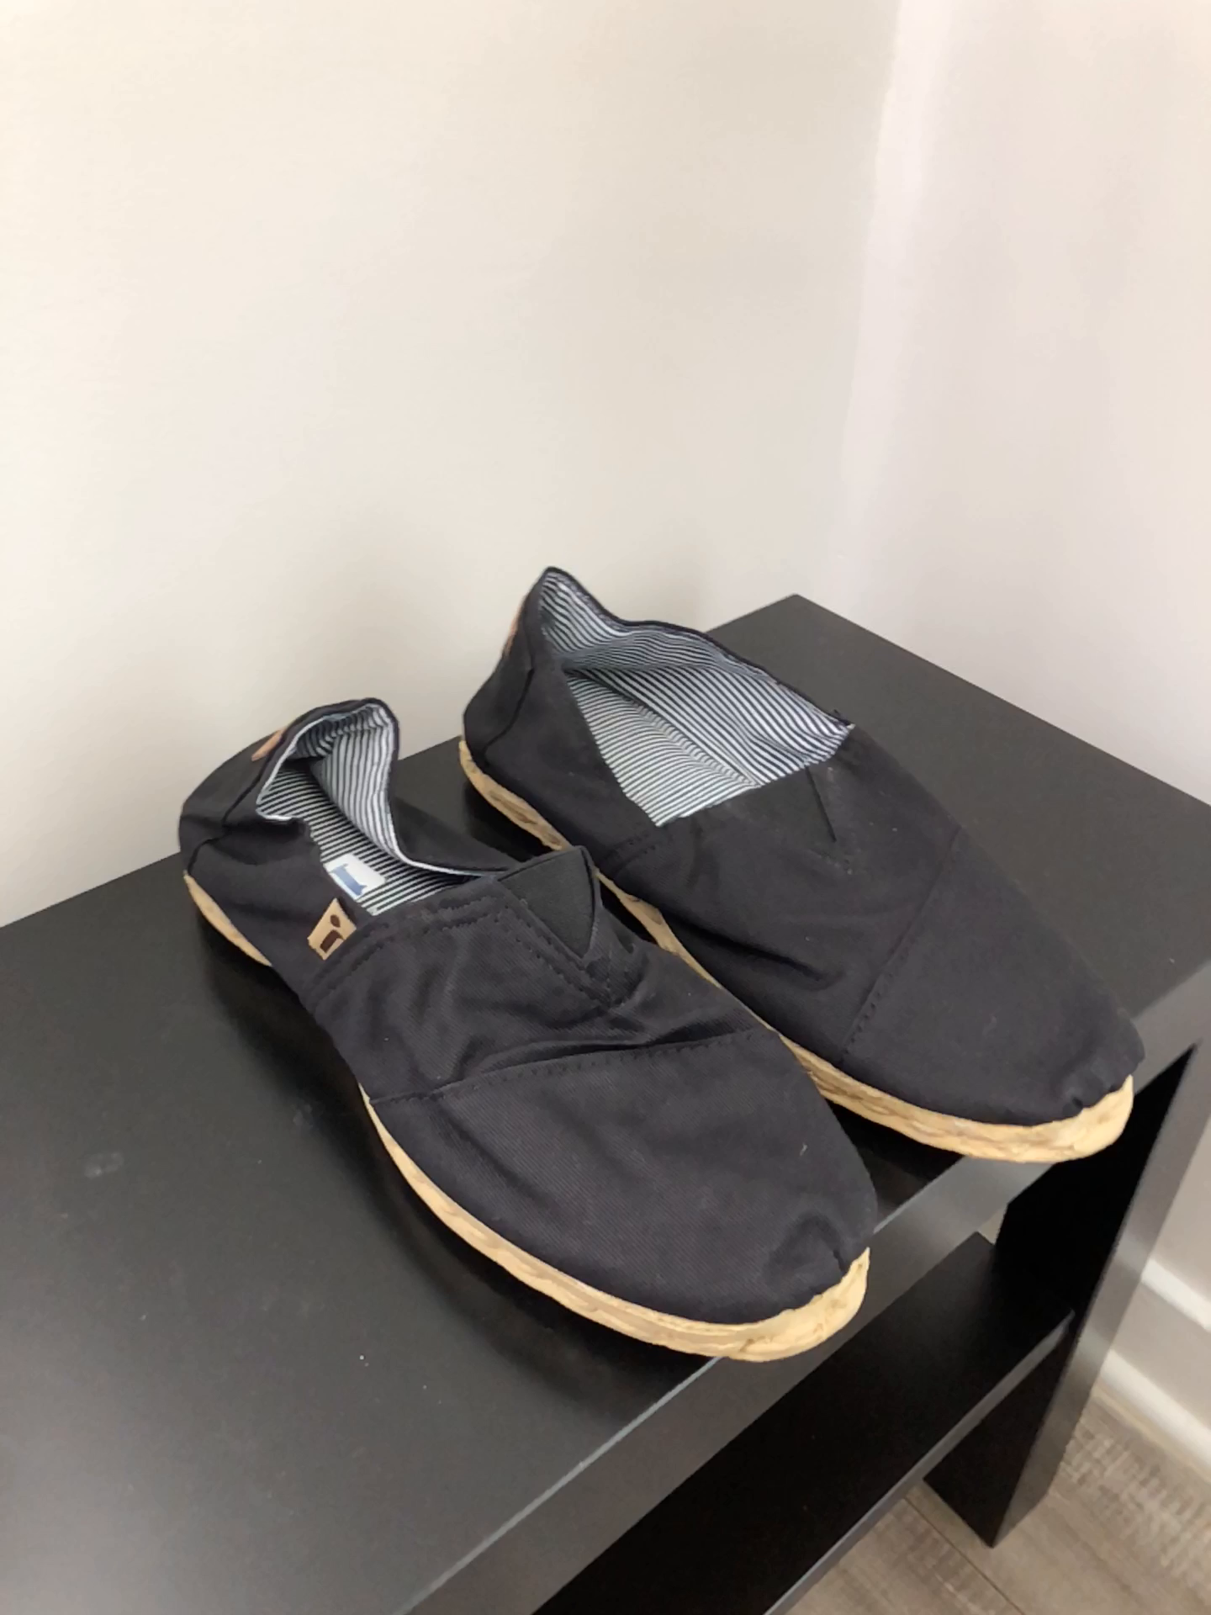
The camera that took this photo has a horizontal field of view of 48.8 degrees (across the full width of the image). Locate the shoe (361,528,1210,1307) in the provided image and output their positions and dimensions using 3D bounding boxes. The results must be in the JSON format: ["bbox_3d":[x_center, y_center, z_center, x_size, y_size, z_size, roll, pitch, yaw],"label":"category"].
[{"bbox_3d":[0.044,0.010,0.420,0.101,0.080,0.275,-26,45,-32],"label":"shoe"}]

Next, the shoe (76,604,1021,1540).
[{"bbox_3d":[-0.036,0.045,0.378,0.101,0.080,0.275,-26,45,-32],"label":"shoe"}]
